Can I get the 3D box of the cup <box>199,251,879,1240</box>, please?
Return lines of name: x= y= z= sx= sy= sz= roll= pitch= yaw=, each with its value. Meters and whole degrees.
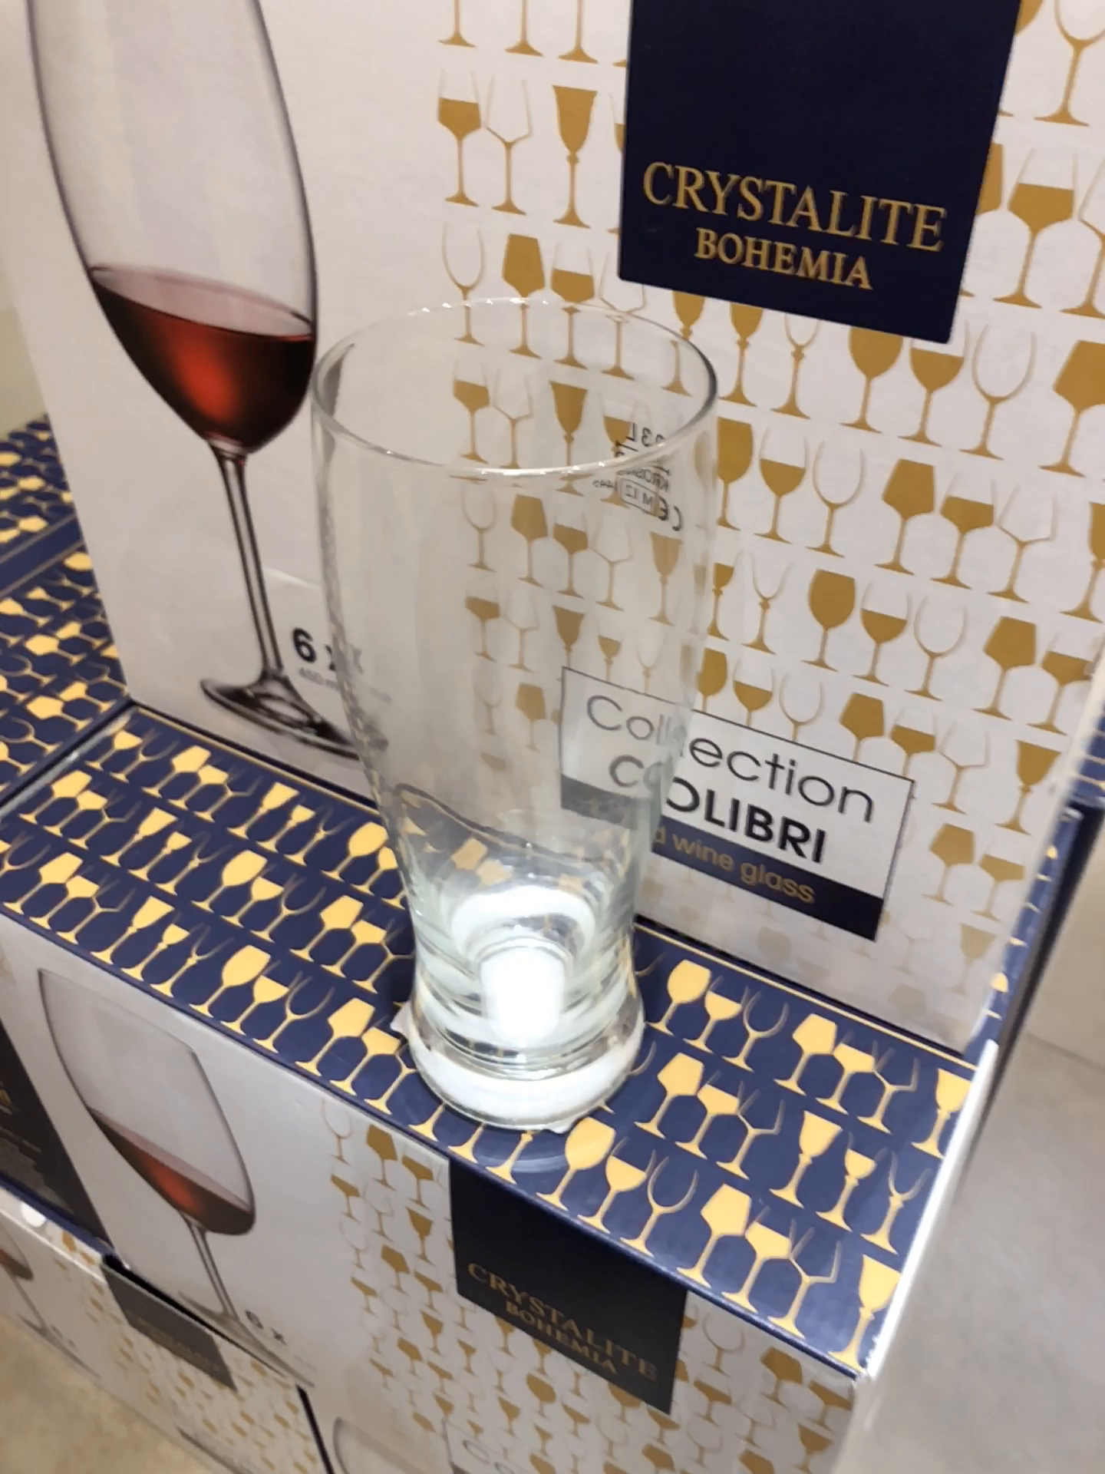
cup: x=0.000 y=0.008 z=0.261 sx=0.080 sy=0.179 sz=0.080 roll=0 pitch=40 yaw=0
